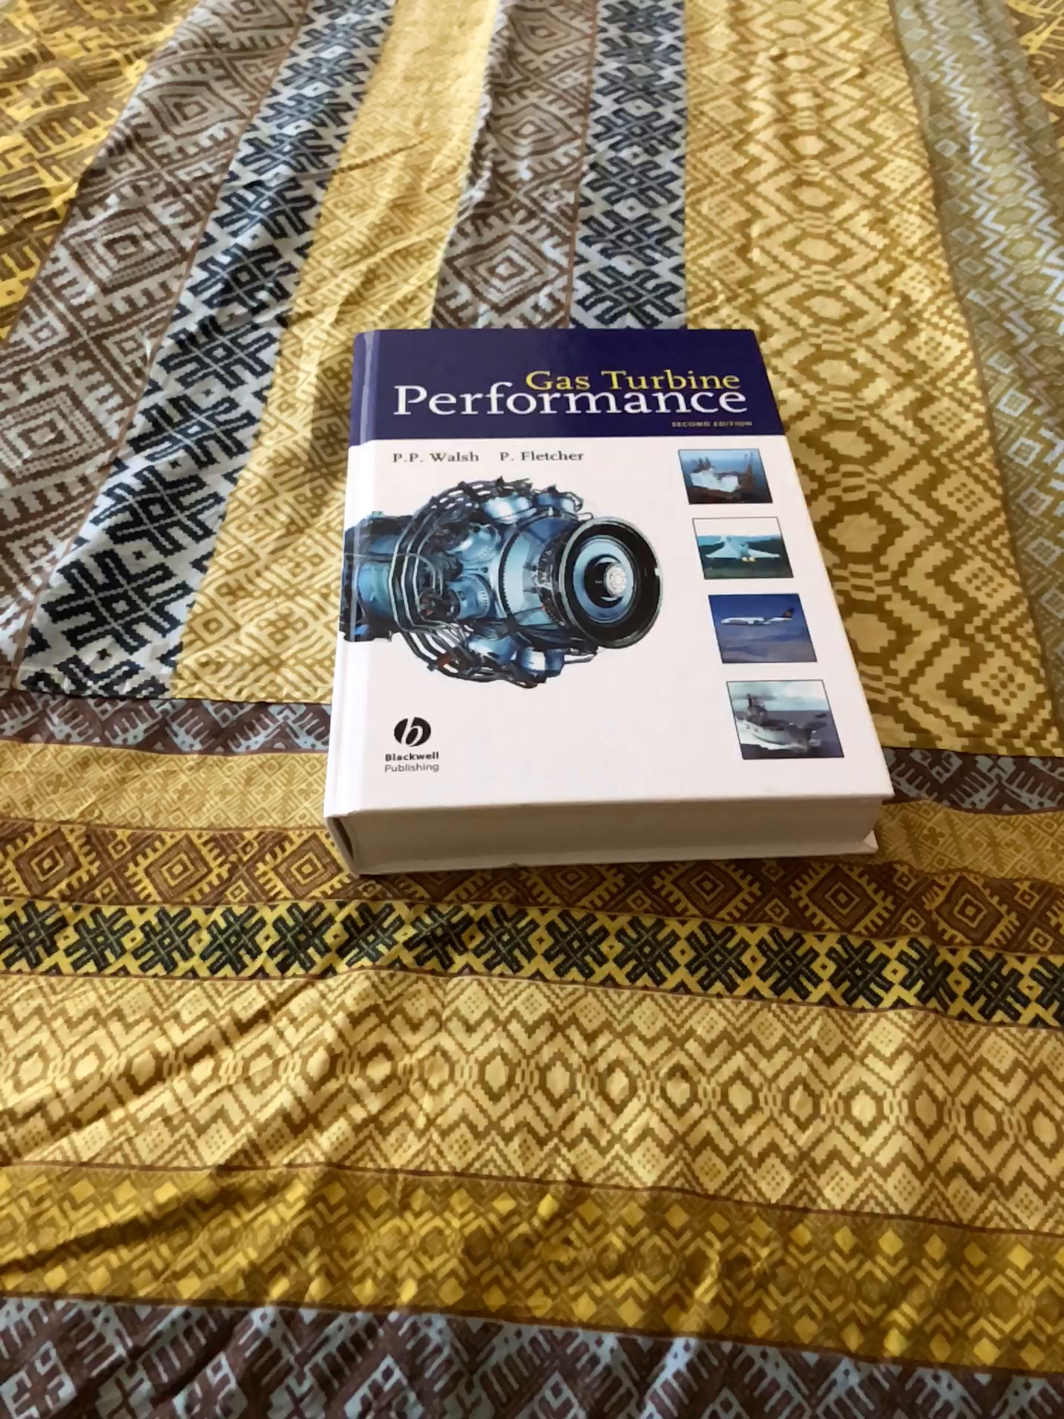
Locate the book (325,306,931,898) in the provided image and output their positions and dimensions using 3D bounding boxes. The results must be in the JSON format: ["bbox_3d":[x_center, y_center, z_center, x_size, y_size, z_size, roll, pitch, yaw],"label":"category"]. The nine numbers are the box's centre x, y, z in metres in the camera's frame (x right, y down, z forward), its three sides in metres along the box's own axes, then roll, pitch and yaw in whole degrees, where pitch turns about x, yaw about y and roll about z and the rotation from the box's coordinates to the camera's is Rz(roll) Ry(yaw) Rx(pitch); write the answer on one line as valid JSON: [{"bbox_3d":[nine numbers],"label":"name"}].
[{"bbox_3d":[0.021,-0.061,0.480,0.192,0.060,0.273,-1,50,-5],"label":"book"}]
